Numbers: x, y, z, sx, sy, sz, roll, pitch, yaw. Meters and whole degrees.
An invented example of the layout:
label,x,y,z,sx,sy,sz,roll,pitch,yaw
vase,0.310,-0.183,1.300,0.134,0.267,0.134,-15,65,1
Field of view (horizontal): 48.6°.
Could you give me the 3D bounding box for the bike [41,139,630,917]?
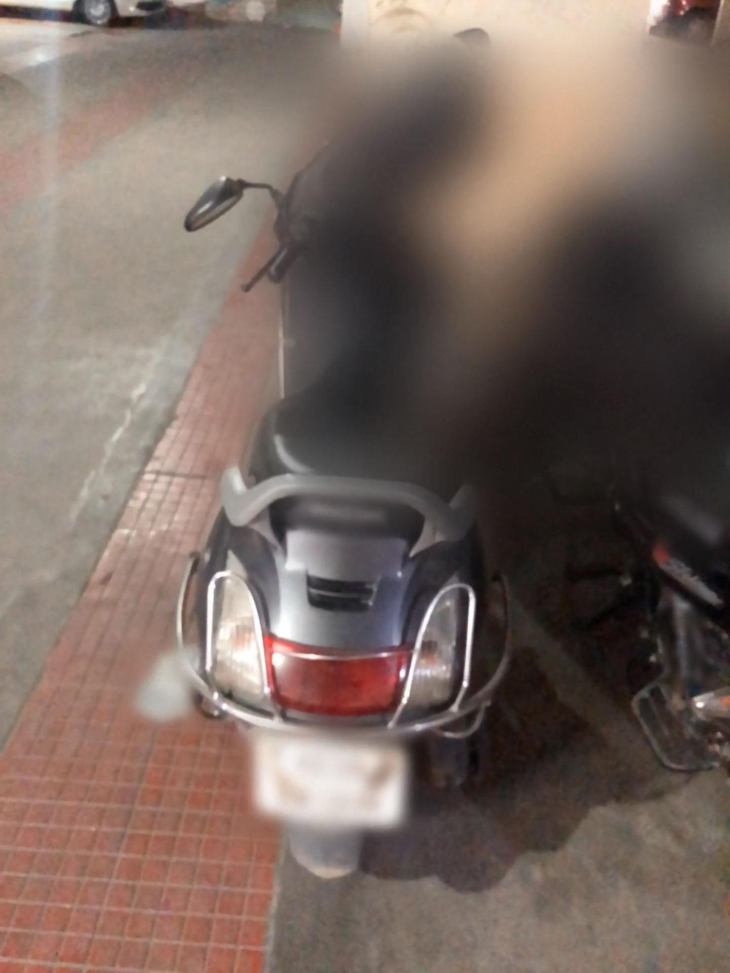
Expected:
label,x,y,z,sx,sy,sz,roll,pitch,yaw
bike,-0.128,-0.090,1.734,0.594,0.988,1.502,1,31,-5
